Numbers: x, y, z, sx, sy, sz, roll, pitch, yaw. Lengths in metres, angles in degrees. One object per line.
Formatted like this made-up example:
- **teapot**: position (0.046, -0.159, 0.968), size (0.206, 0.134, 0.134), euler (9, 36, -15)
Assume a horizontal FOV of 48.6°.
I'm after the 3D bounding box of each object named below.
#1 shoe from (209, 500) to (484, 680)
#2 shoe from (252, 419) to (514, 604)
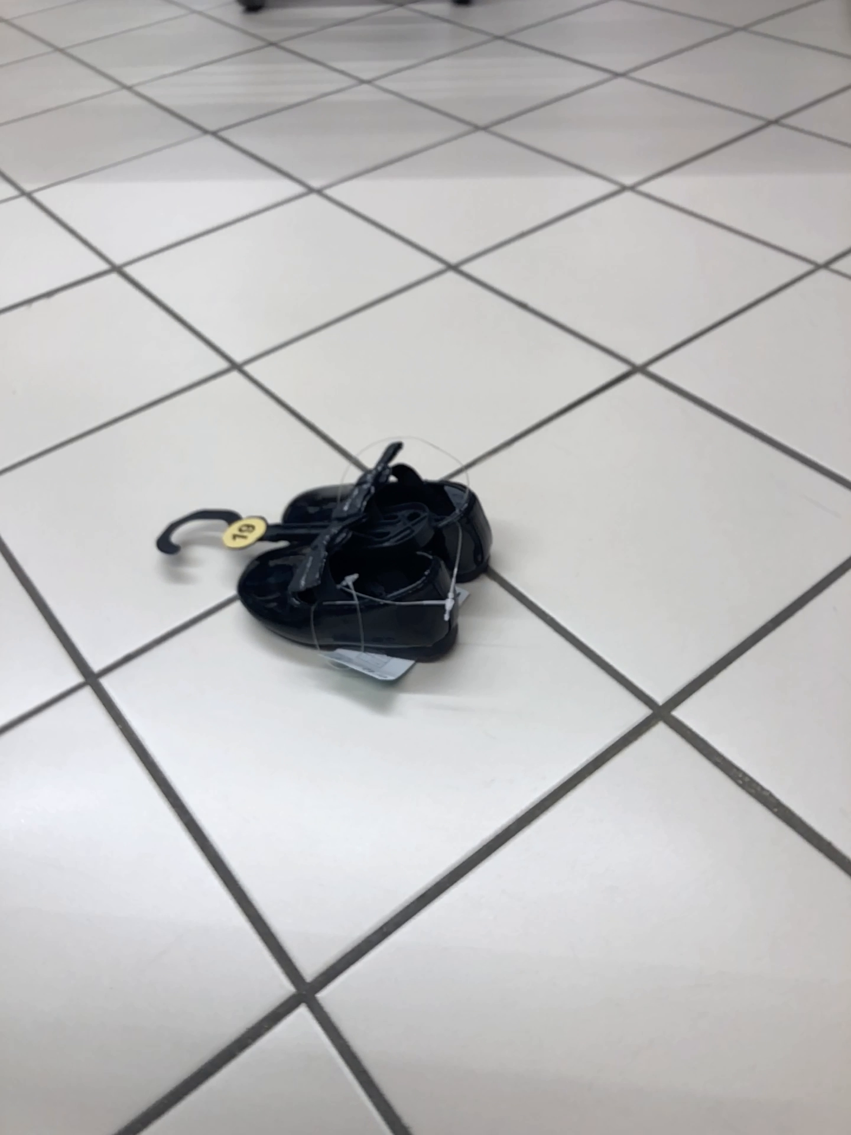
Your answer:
- **shoe**: position (-0.038, 0.009, 0.483), size (0.122, 0.037, 0.061), euler (11, 47, 16)
- **shoe**: position (-0.020, -0.032, 0.513), size (0.125, 0.052, 0.061), euler (11, 47, 16)
